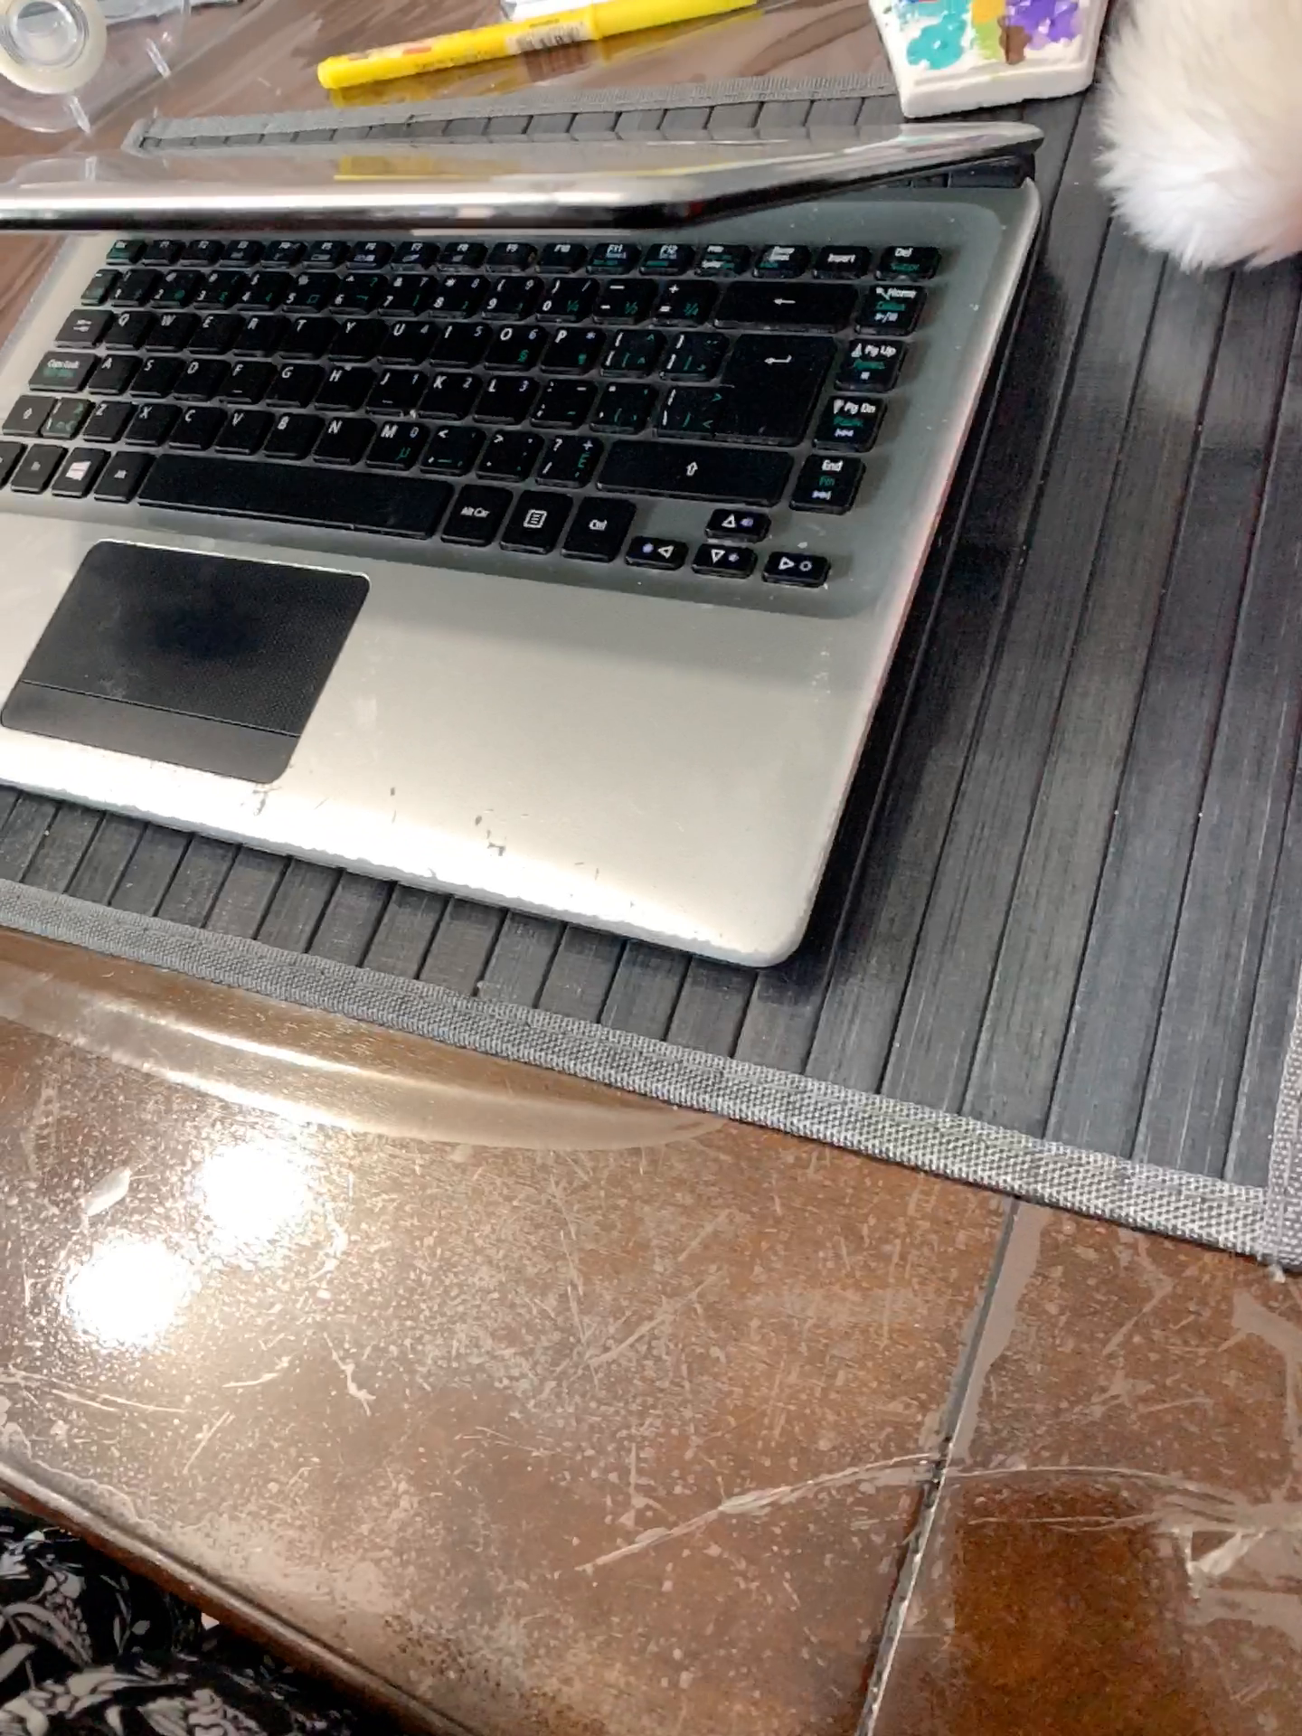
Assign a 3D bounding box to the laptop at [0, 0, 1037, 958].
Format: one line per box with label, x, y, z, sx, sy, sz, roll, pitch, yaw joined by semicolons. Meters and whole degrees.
laptop;-0.108;-0.143;0.334;0.344;0.141;0.225;12;71;24
